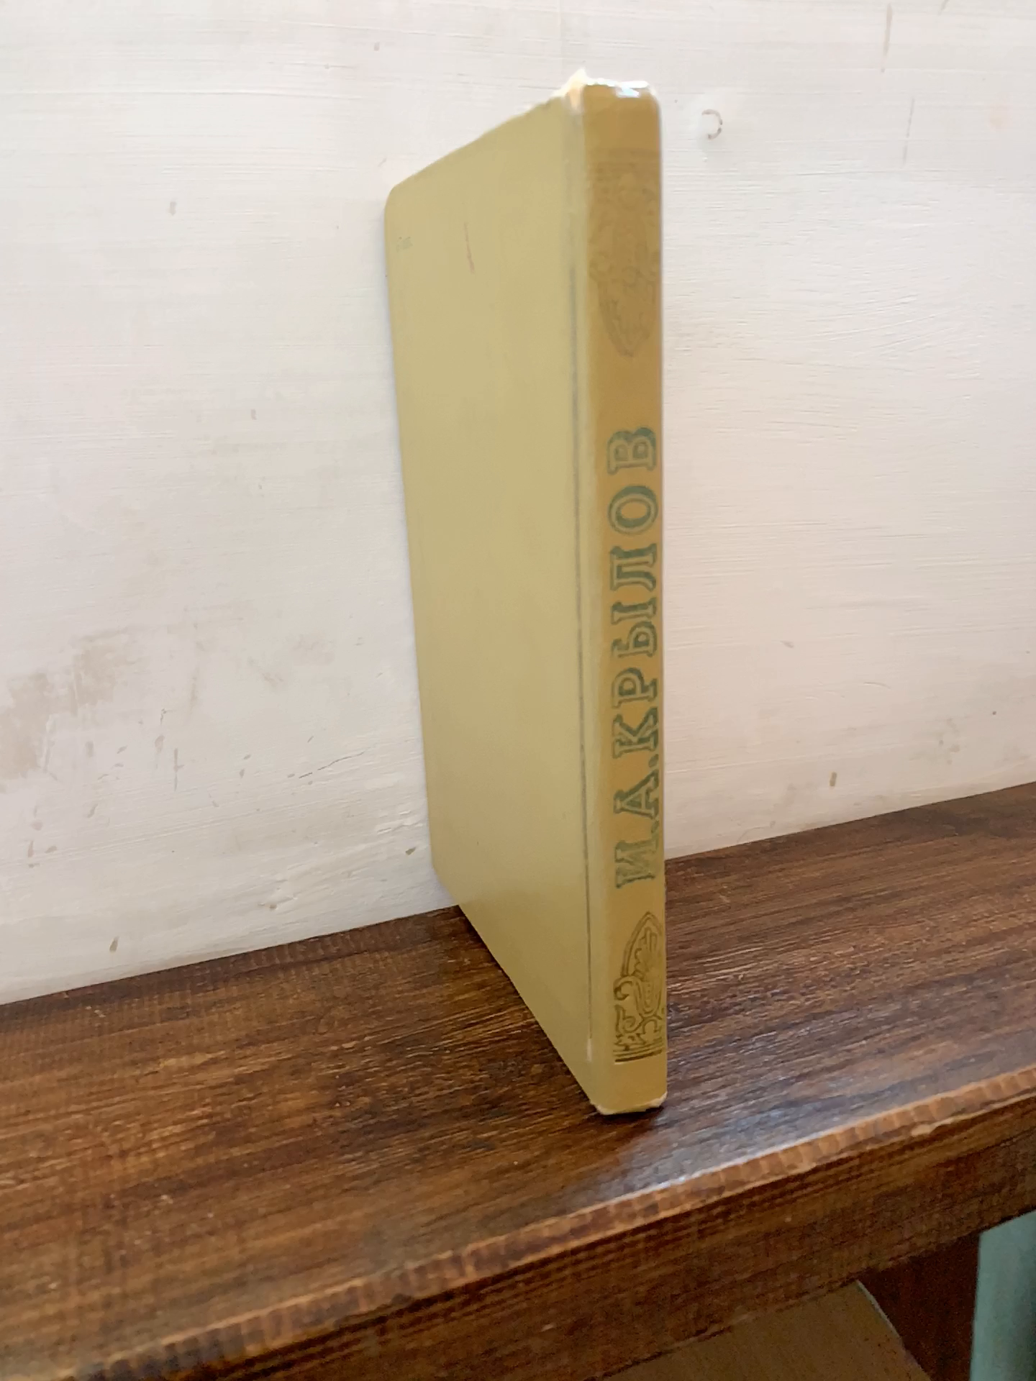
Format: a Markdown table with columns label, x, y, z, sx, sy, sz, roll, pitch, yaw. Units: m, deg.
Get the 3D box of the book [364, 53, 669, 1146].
| label | x | y | z | sx | sy | sz | roll | pitch | yaw |
| --- | --- | --- | --- | --- | --- | --- | --- | --- | --- |
| book | -0.004 | -0.021 | 0.261 | 0.020 | 0.205 | 0.132 | -8 | 17 | -19 |
